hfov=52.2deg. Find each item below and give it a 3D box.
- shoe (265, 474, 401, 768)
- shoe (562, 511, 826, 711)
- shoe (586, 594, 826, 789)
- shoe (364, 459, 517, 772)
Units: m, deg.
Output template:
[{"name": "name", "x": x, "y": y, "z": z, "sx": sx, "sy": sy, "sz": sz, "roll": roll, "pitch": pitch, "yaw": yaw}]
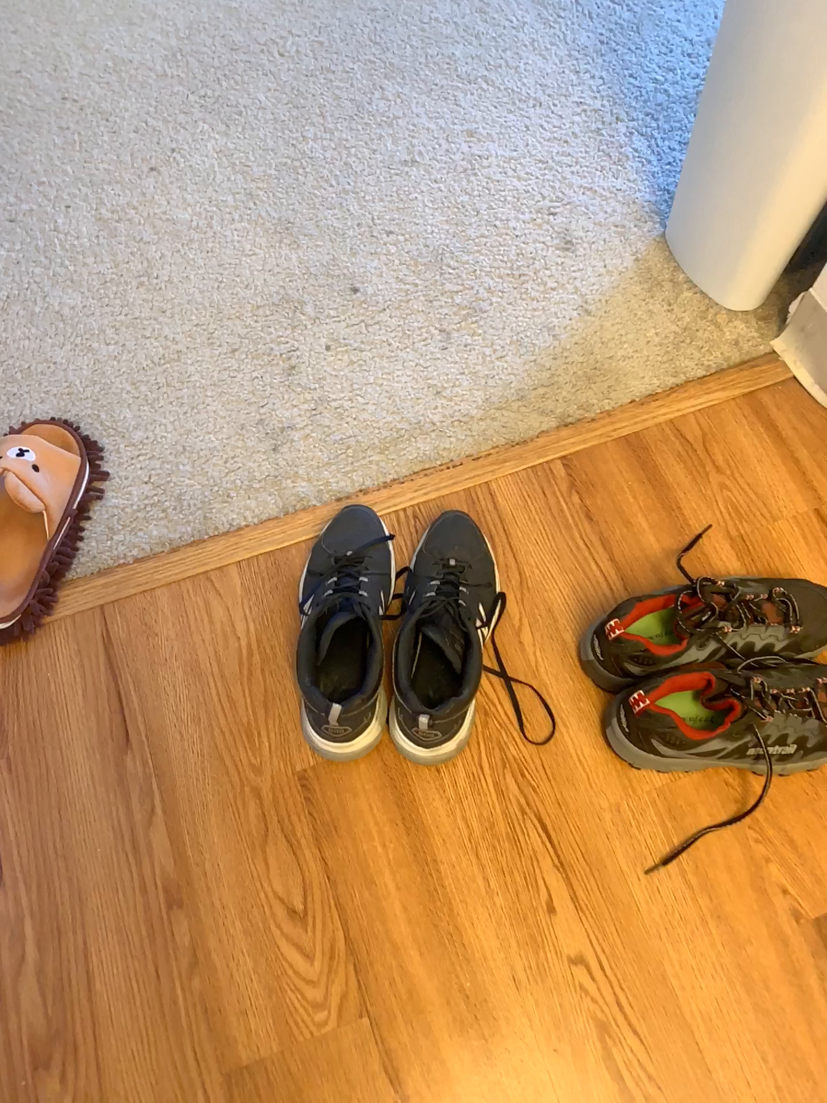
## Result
[{"name": "shoe", "x": -0.082, "y": 0.077, "z": 0.960, "sx": 0.130, "sy": 0.120, "sz": 0.311, "roll": 0, "pitch": 64, "yaw": 0}, {"name": "shoe", "x": 0.340, "y": 0.071, "z": 0.943, "sx": 0.300, "sy": 0.170, "sz": 0.120, "roll": -9, "pitch": 65, "yaw": -5}, {"name": "shoe", "x": 0.375, "y": 0.158, "z": 0.919, "sx": 0.320, "sy": 0.180, "sz": 0.140, "roll": -4, "pitch": 64, "yaw": -2}, {"name": "shoe", "x": 0.032, "y": 0.068, "z": 0.918, "sx": 0.120, "sy": 0.130, "sz": 0.301, "roll": 7, "pitch": 64, "yaw": 3}]
